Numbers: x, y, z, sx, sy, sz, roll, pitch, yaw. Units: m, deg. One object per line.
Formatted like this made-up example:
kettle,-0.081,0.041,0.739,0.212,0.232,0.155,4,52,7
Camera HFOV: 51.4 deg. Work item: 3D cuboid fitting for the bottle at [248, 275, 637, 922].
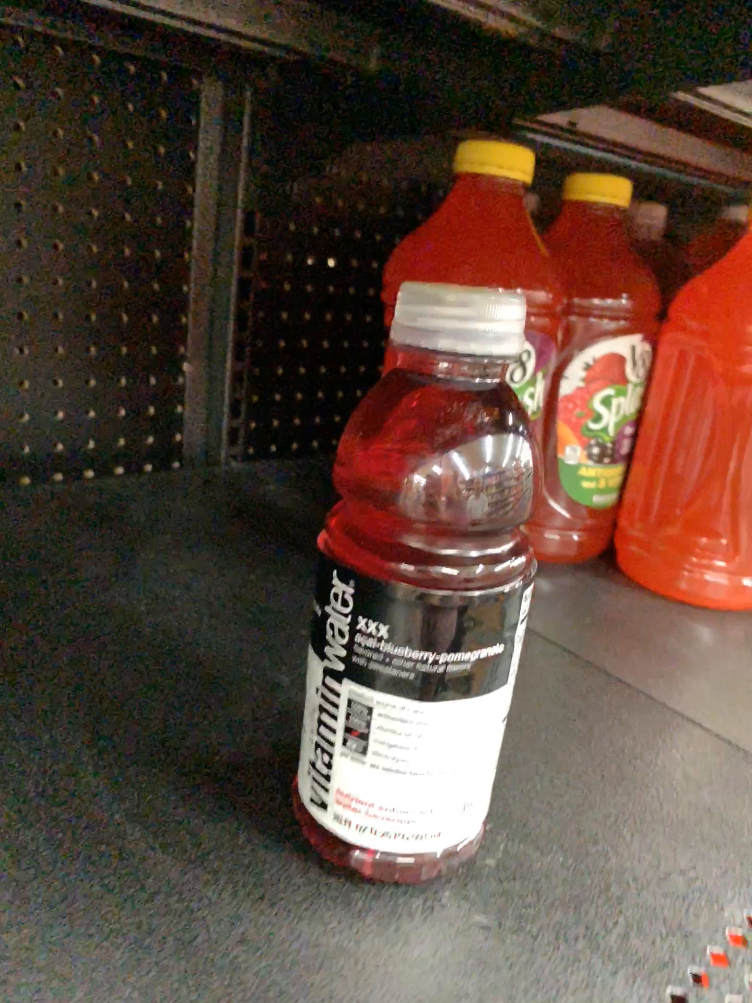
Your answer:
bottle,0.020,0.024,0.258,0.080,0.179,0.080,7,19,-2
